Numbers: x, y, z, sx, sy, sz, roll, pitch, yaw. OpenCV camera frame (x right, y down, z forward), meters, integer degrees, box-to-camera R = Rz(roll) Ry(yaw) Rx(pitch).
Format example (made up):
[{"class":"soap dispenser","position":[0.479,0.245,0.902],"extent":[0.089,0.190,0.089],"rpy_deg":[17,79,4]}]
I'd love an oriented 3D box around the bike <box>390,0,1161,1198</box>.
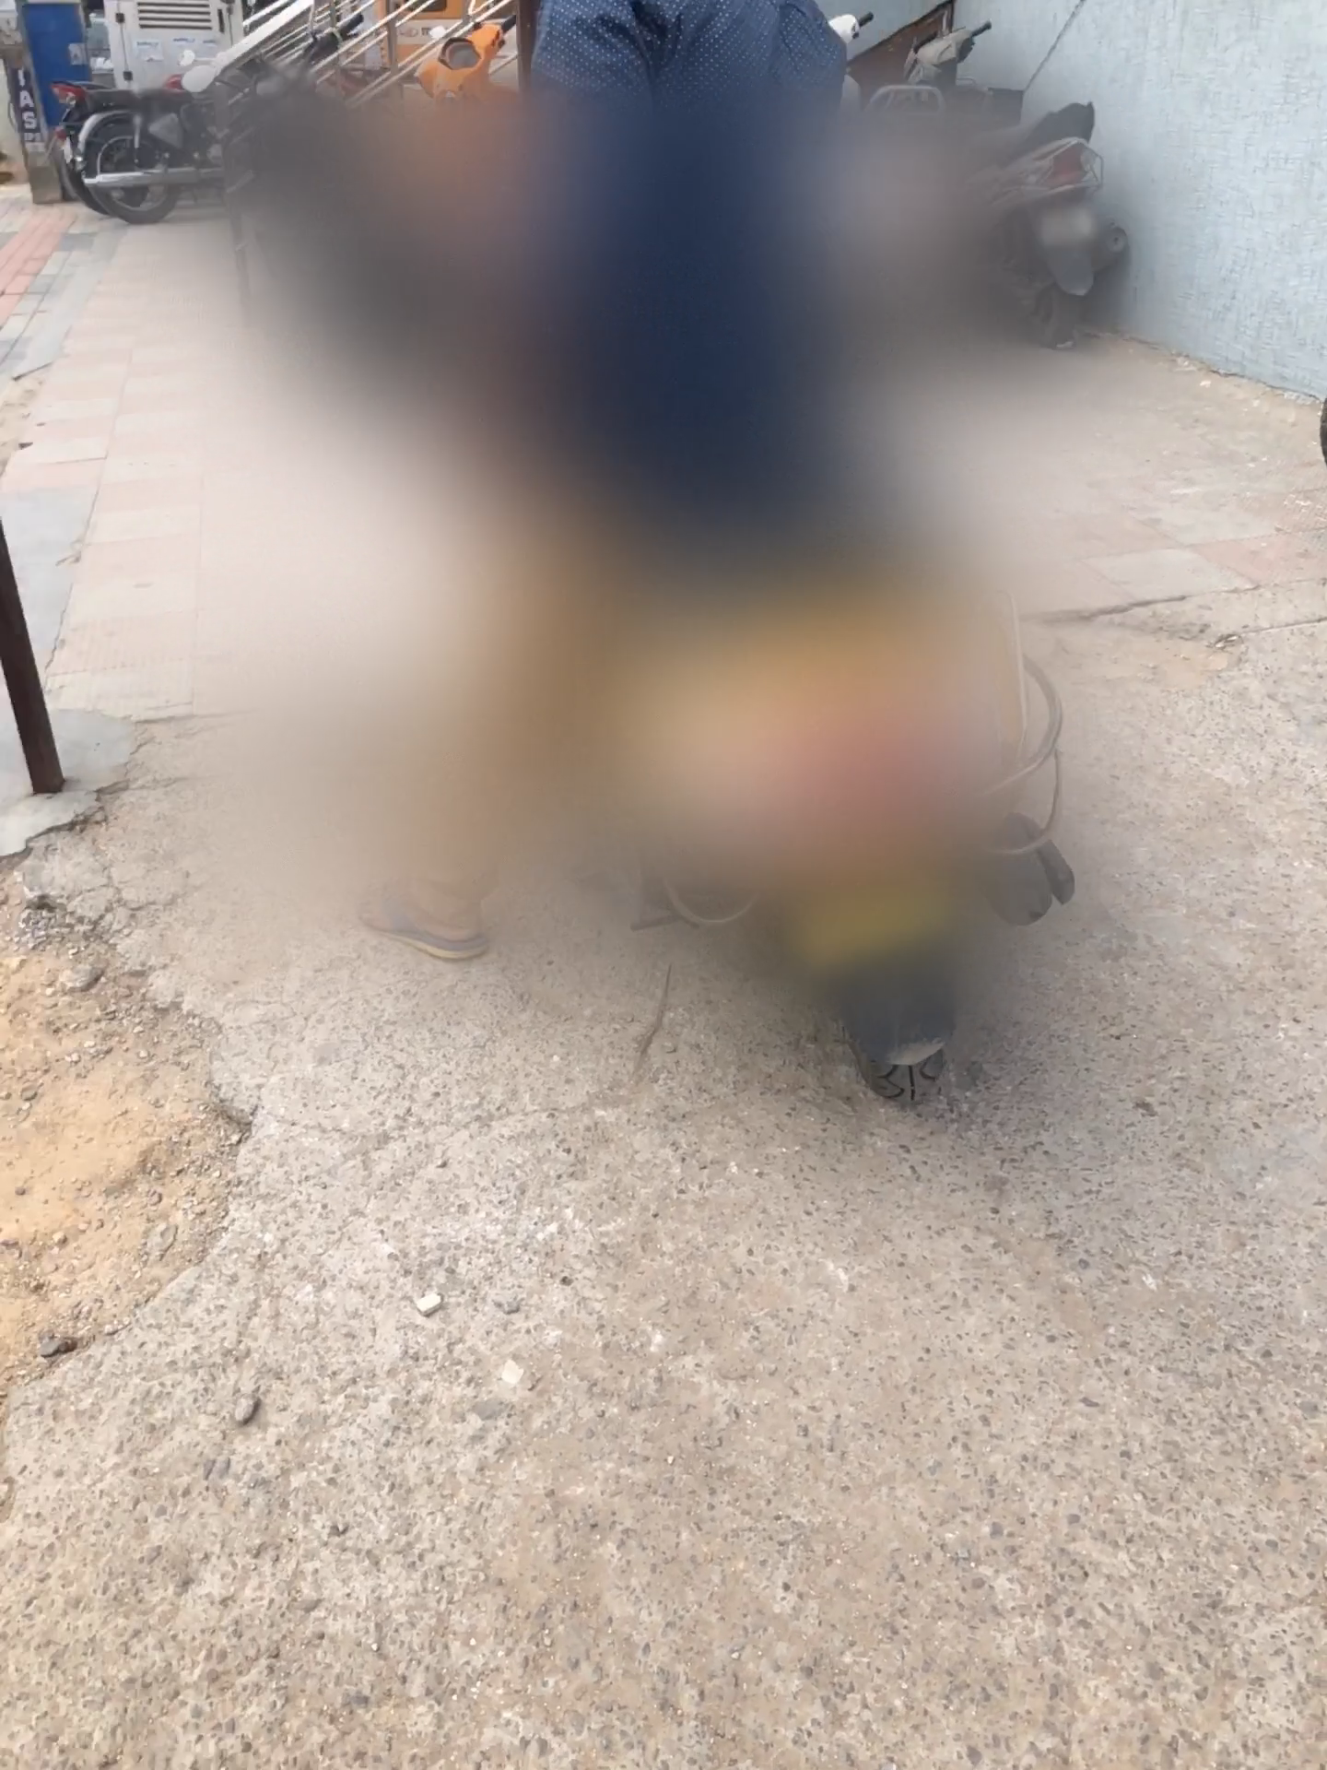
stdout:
[{"class":"bike","position":[-0.013,-0.592,2.106],"extent":[0.585,1.153,1.535],"rpy_deg":[-5,33,-10]}]
